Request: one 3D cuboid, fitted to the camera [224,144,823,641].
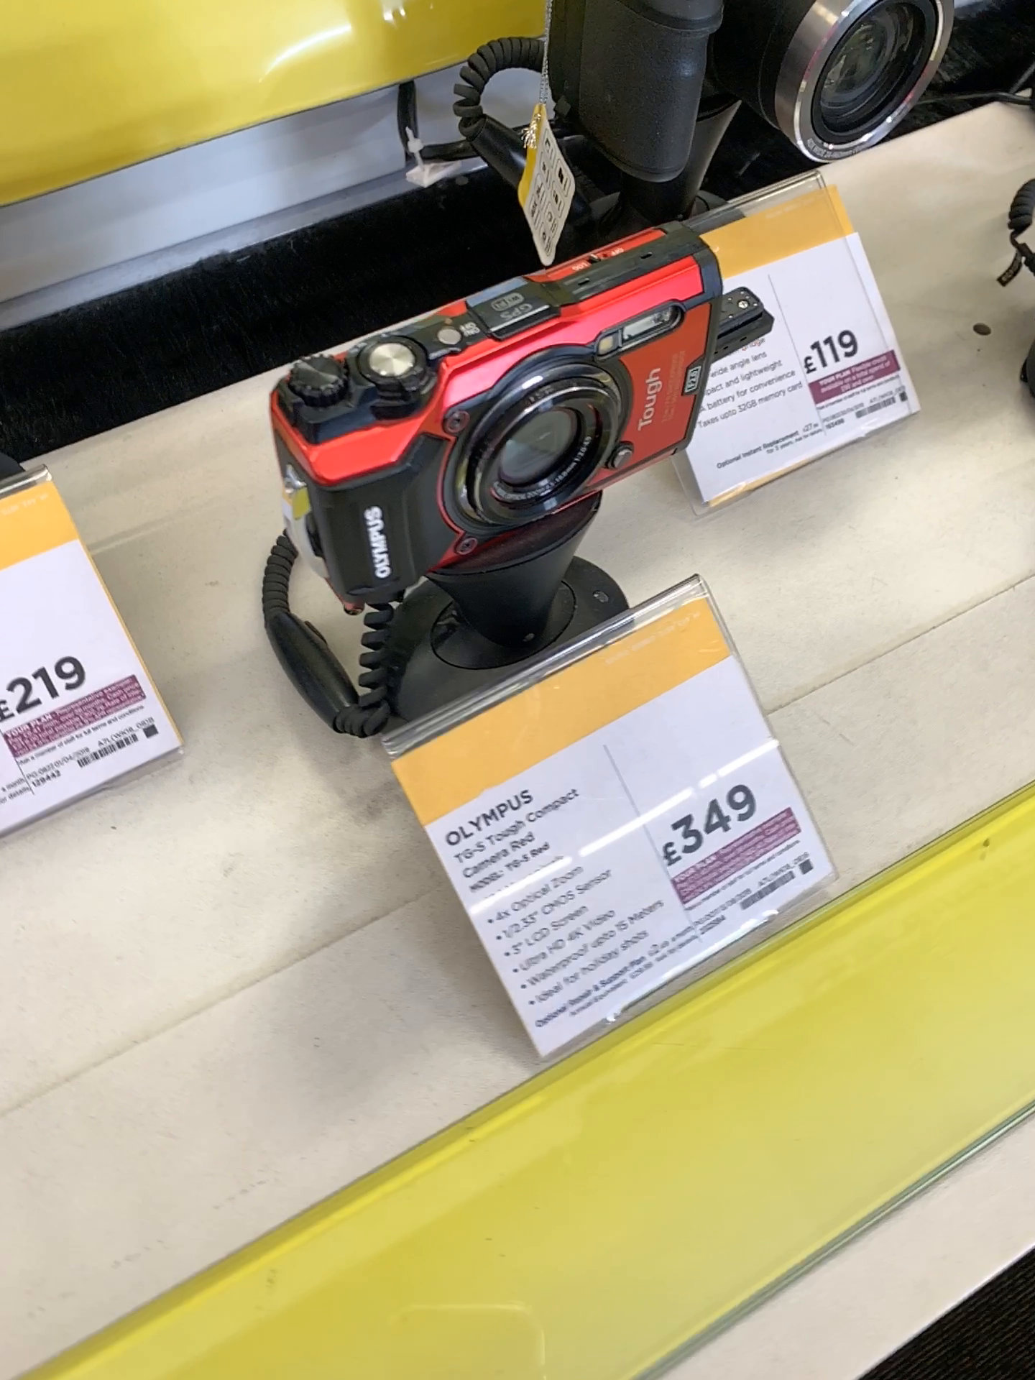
[{"bbox_3d":[0.003,-0.068,0.244,0.120,0.060,0.040,-28,64,-16],"label":"camera"}]
